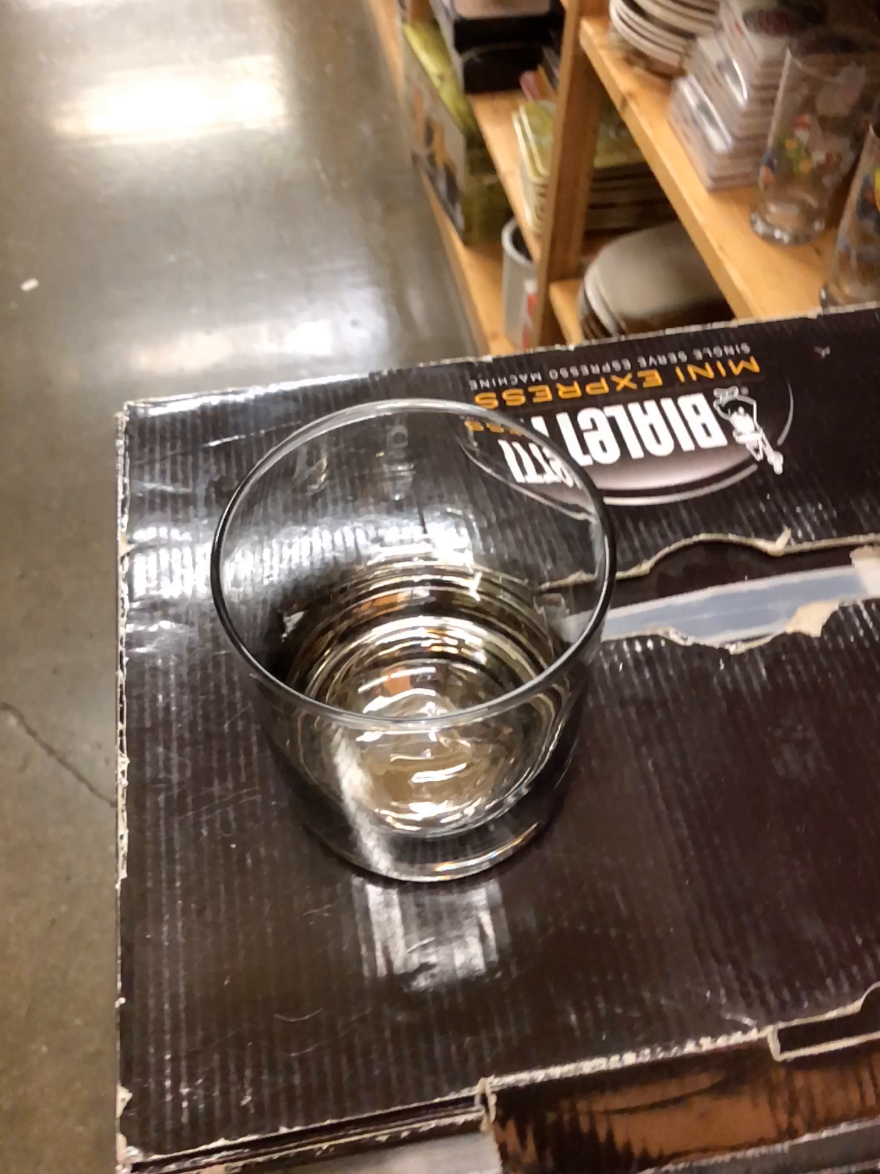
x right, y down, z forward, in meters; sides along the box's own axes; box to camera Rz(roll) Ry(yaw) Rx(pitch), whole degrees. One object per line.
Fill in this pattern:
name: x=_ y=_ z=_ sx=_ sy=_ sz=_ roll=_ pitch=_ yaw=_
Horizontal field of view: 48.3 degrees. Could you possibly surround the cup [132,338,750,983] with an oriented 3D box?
cup: x=0.000 y=0.019 z=0.234 sx=0.089 sy=0.093 sz=0.085 roll=0 pitch=55 yaw=0
